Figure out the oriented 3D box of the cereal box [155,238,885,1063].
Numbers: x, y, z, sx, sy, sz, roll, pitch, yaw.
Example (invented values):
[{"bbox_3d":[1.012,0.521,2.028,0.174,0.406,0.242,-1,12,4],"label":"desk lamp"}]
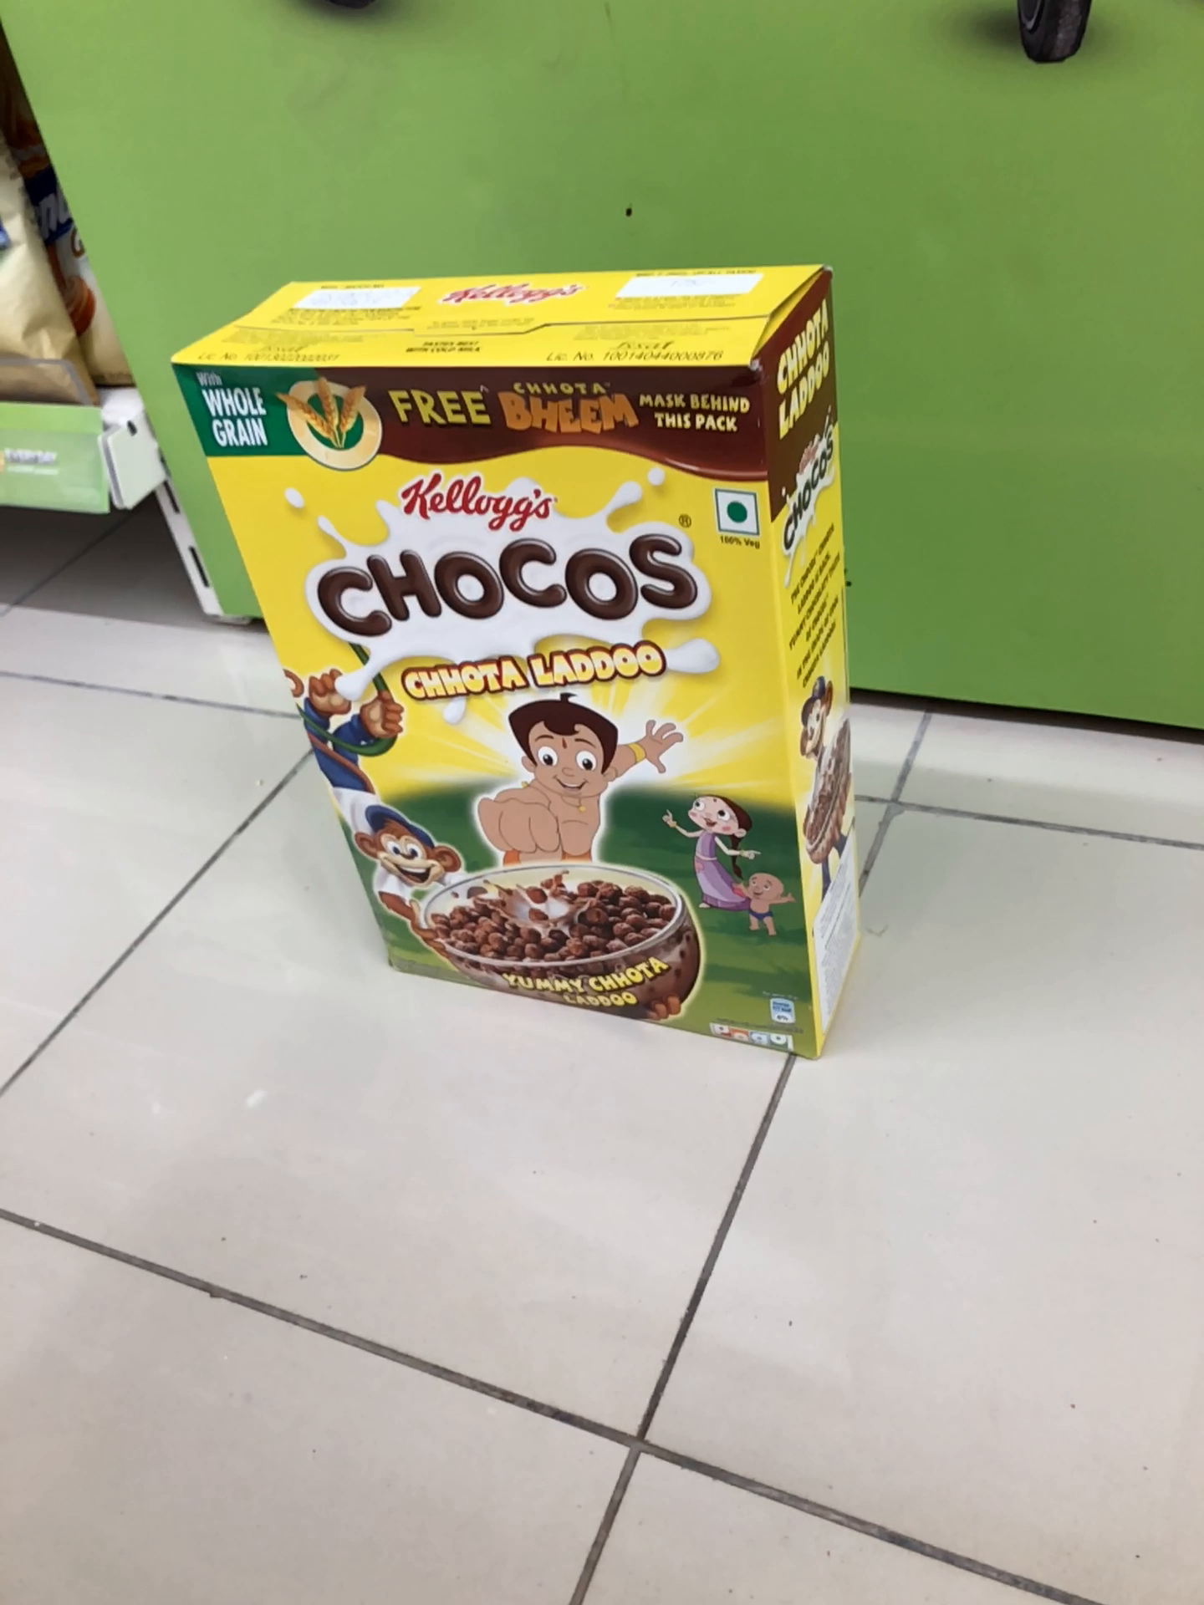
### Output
[{"bbox_3d":[-0.009,-0.043,0.451,0.190,0.258,0.070,9,42,23],"label":"cereal box"}]
